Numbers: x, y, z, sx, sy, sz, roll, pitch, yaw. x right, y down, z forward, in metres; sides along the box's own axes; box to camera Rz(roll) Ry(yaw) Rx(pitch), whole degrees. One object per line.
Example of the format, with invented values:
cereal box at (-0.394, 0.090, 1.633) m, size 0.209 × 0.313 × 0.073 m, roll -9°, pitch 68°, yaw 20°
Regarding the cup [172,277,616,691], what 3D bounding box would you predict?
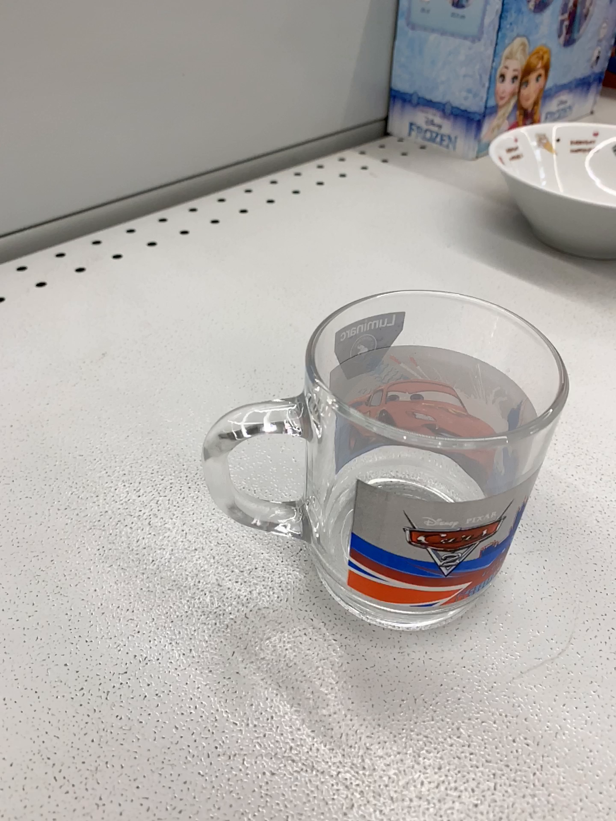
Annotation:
cup at (0.020, 0.020, 0.196) m, size 0.108 × 0.087 × 0.071 m, roll -7°, pitch 42°, yaw -9°
